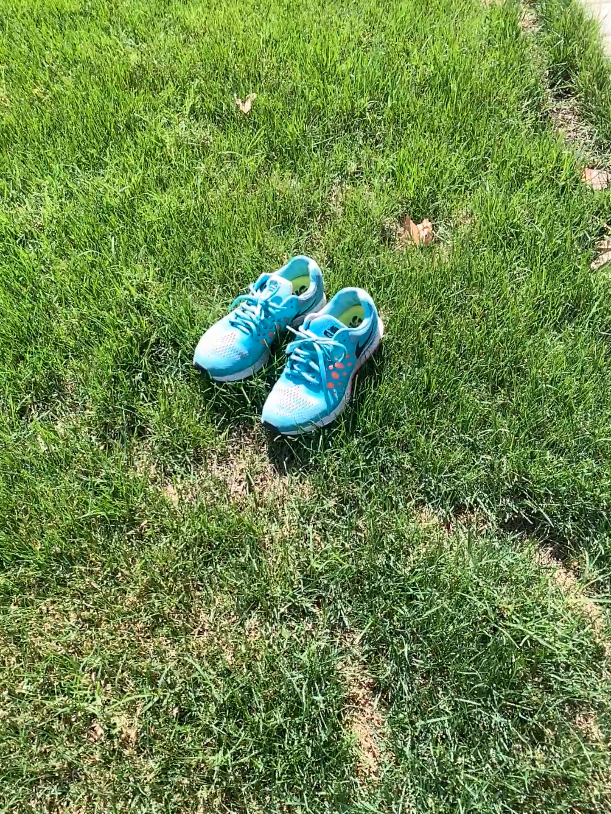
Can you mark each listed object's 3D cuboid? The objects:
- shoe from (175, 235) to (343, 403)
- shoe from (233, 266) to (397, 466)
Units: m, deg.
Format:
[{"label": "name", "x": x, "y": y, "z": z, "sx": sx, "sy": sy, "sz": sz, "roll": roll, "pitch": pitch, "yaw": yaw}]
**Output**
[{"label": "shoe", "x": -0.062, "y": -0.137, "z": 0.934, "sx": 0.100, "sy": 0.080, "sz": 0.250, "roll": 35, "pitch": 65, "yaw": 22}, {"label": "shoe", "x": 0.021, "y": -0.064, "z": 0.894, "sx": 0.110, "sy": 0.100, "sz": 0.260, "roll": 25, "pitch": 62, "yaw": 18}]
